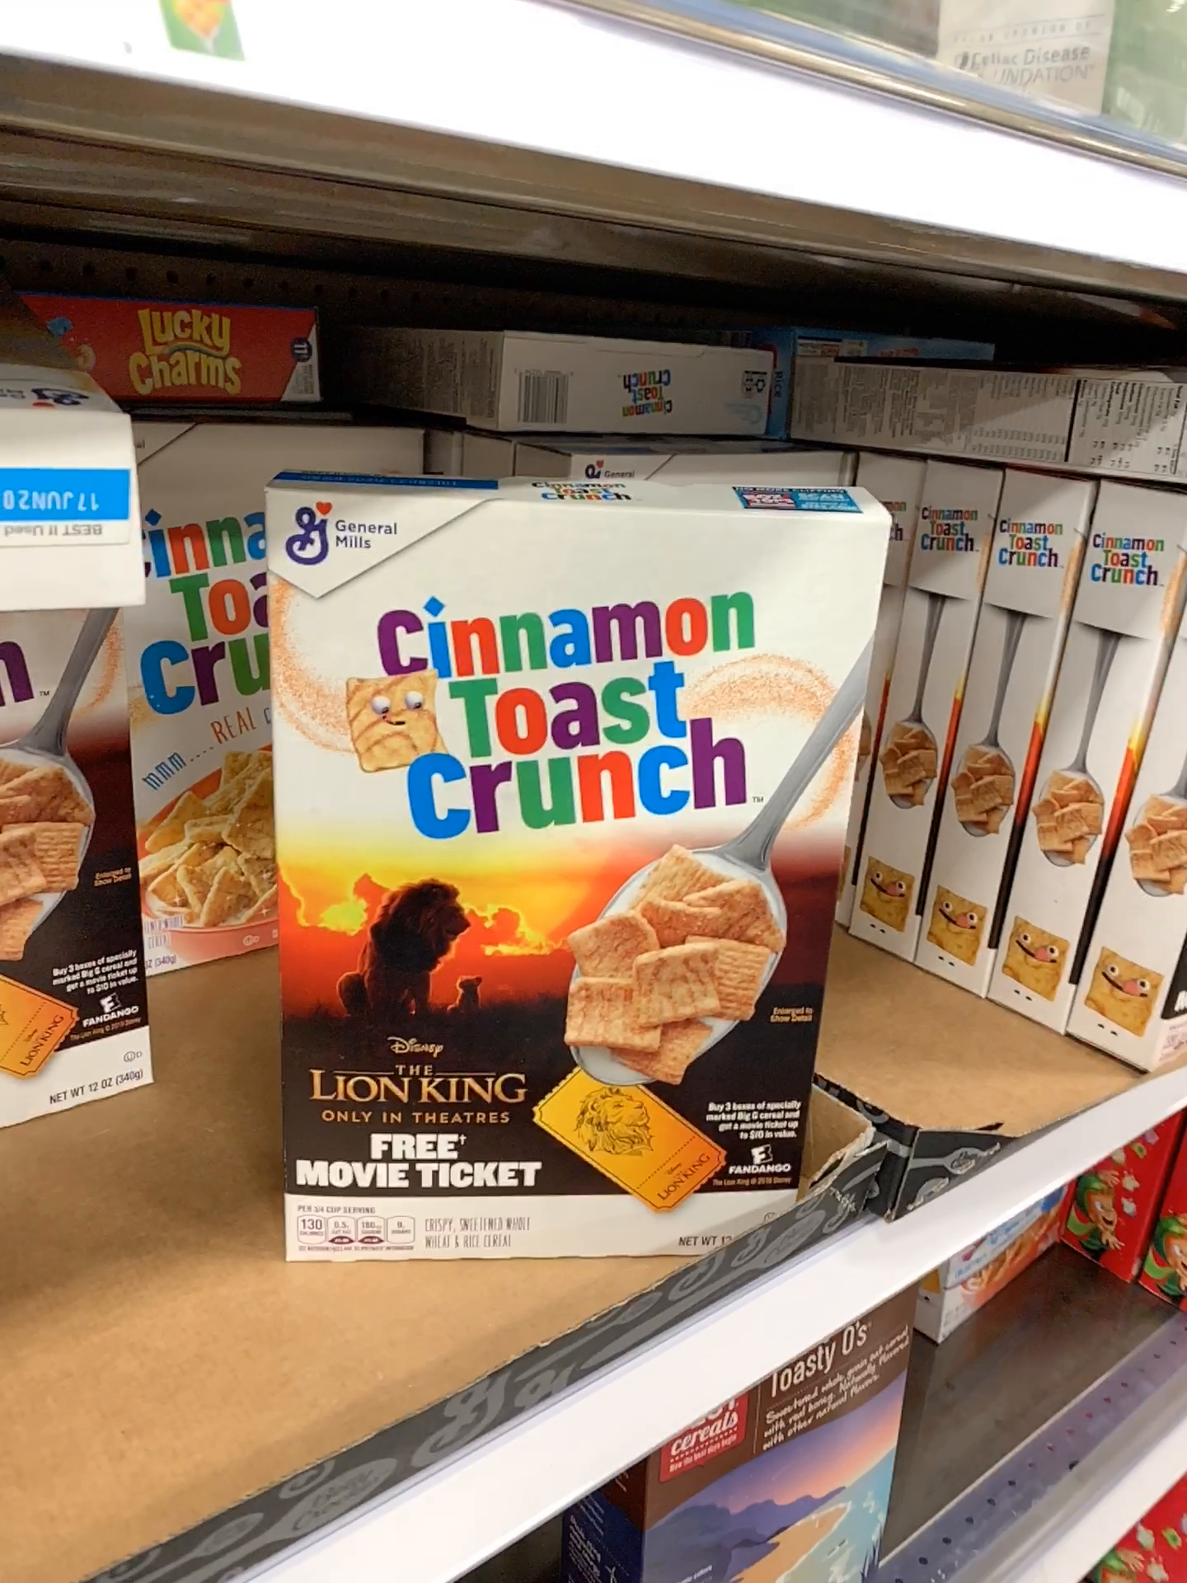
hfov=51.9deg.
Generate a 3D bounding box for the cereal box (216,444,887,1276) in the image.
[{"bbox_3d":[-0.020,0.032,0.421,0.190,0.279,0.060,1,21,-7],"label":"cereal box"}]
